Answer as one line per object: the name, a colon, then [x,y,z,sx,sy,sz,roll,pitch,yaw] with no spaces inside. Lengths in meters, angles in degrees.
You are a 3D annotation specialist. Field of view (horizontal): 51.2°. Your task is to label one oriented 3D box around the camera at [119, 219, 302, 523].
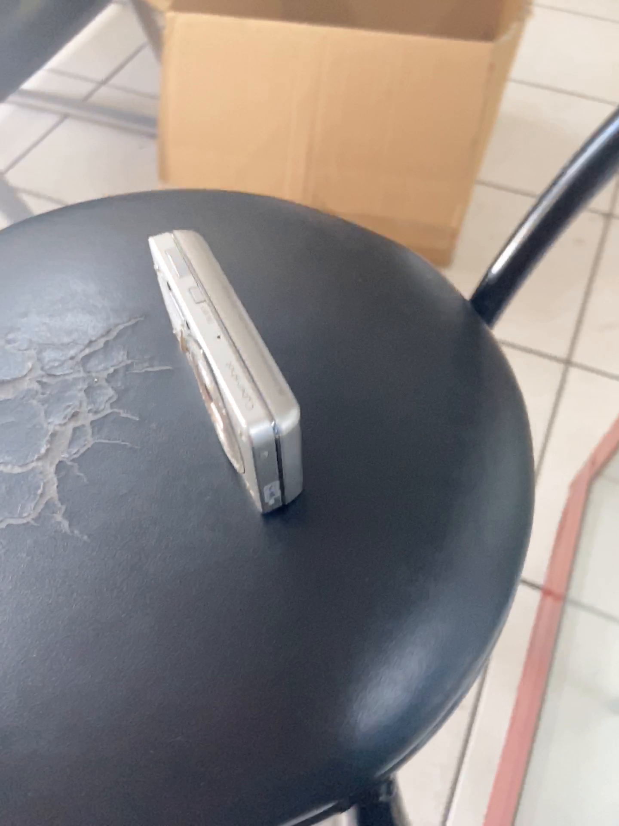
camera: [-0.033,-0.015,0.212,0.022,0.042,0.093,-23,59,-14]
